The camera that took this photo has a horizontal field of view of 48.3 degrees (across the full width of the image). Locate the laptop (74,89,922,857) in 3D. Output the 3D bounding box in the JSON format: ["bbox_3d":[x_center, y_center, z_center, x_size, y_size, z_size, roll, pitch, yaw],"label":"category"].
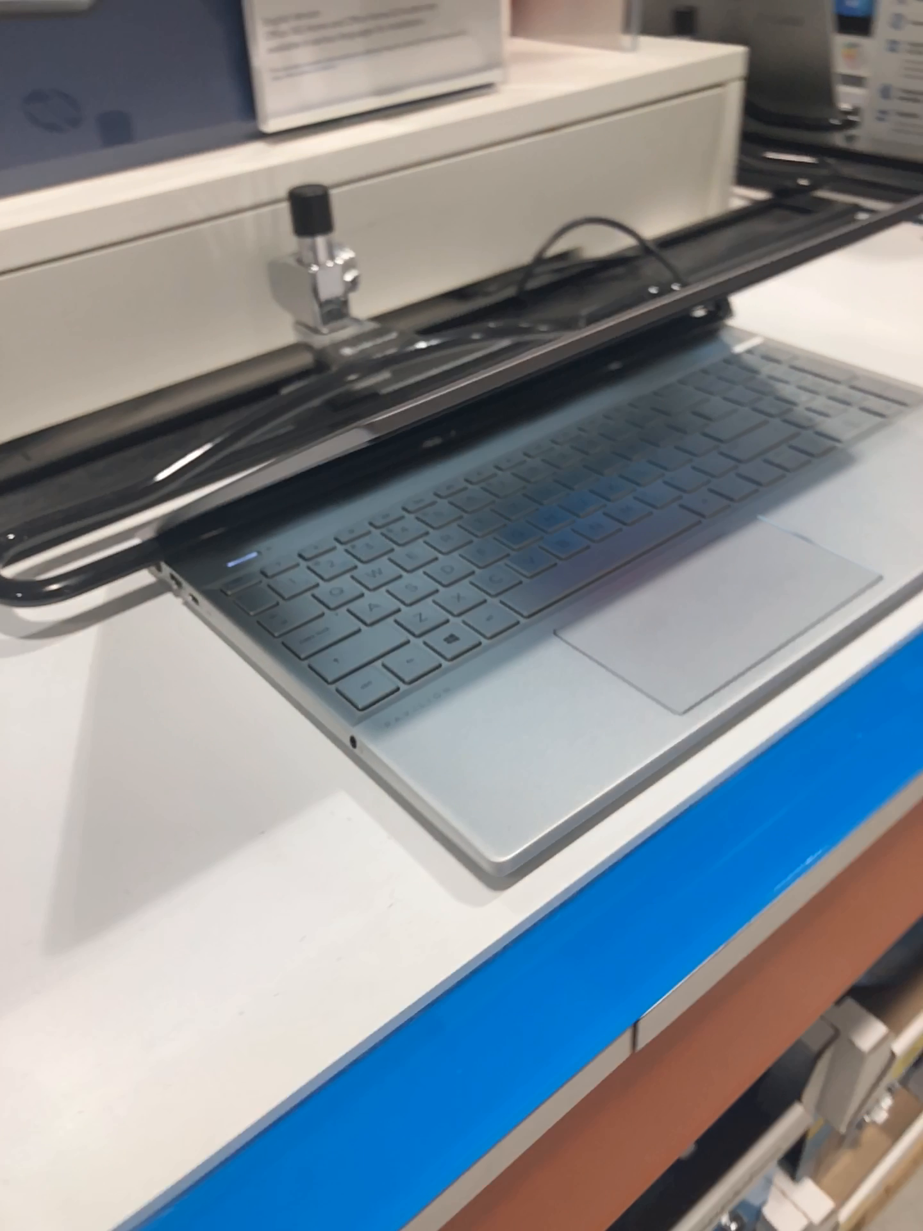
[{"bbox_3d":[0.071,-0.100,0.409,0.348,0.124,0.216,-28,43,-29],"label":"laptop"}]
